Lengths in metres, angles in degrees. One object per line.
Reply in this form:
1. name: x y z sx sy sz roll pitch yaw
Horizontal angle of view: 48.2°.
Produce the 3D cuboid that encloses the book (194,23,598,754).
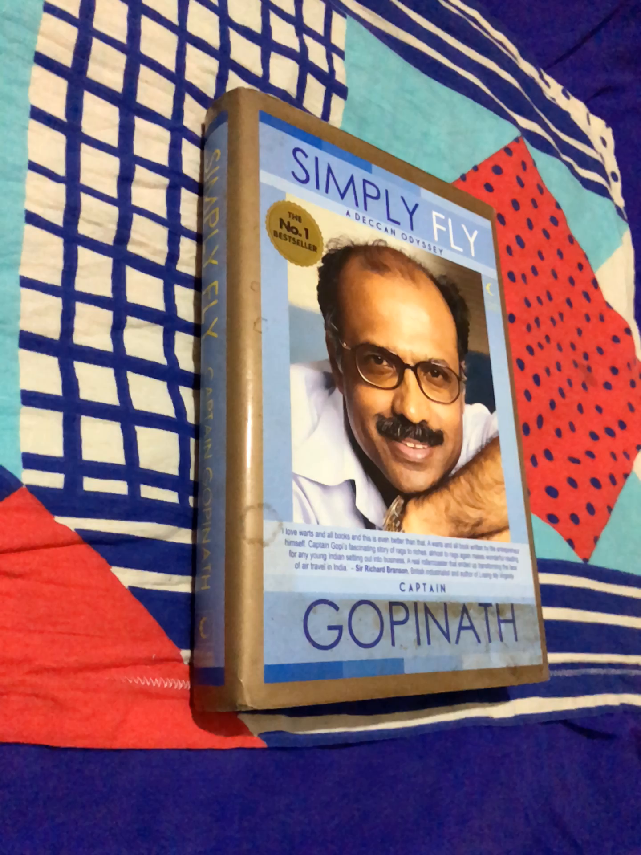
1. book: 0.033 -0.012 0.299 0.161 0.050 0.250 11 70 -37
